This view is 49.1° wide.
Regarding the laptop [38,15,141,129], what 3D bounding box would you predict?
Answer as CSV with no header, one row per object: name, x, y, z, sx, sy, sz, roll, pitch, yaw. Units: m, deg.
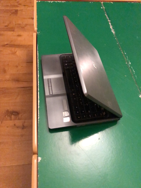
laptop,0.027,-0.084,0.509,0.226,0.171,0.317,-7,58,-9
